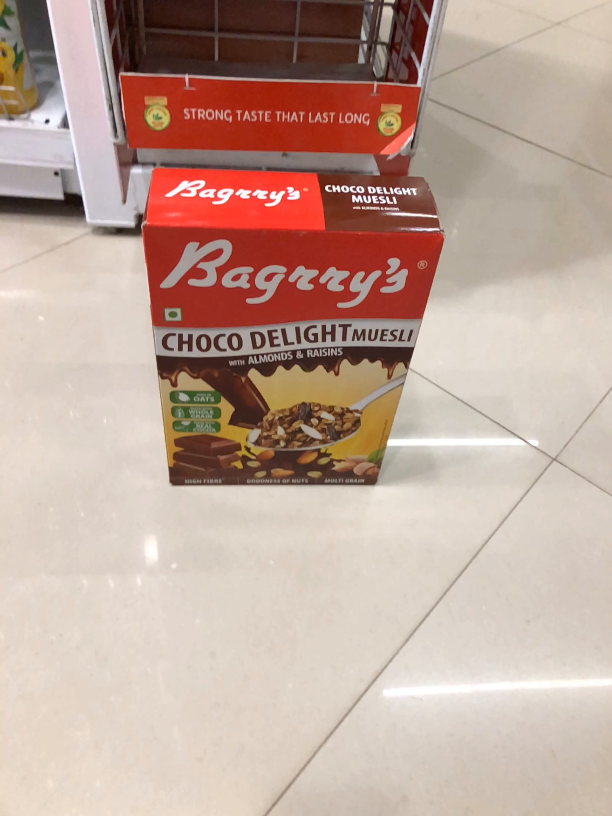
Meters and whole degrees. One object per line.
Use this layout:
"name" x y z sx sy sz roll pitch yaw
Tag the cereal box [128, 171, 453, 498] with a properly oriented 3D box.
"cereal box" -0.020 -0.036 0.512 0.190 0.258 0.070 1 47 -6
